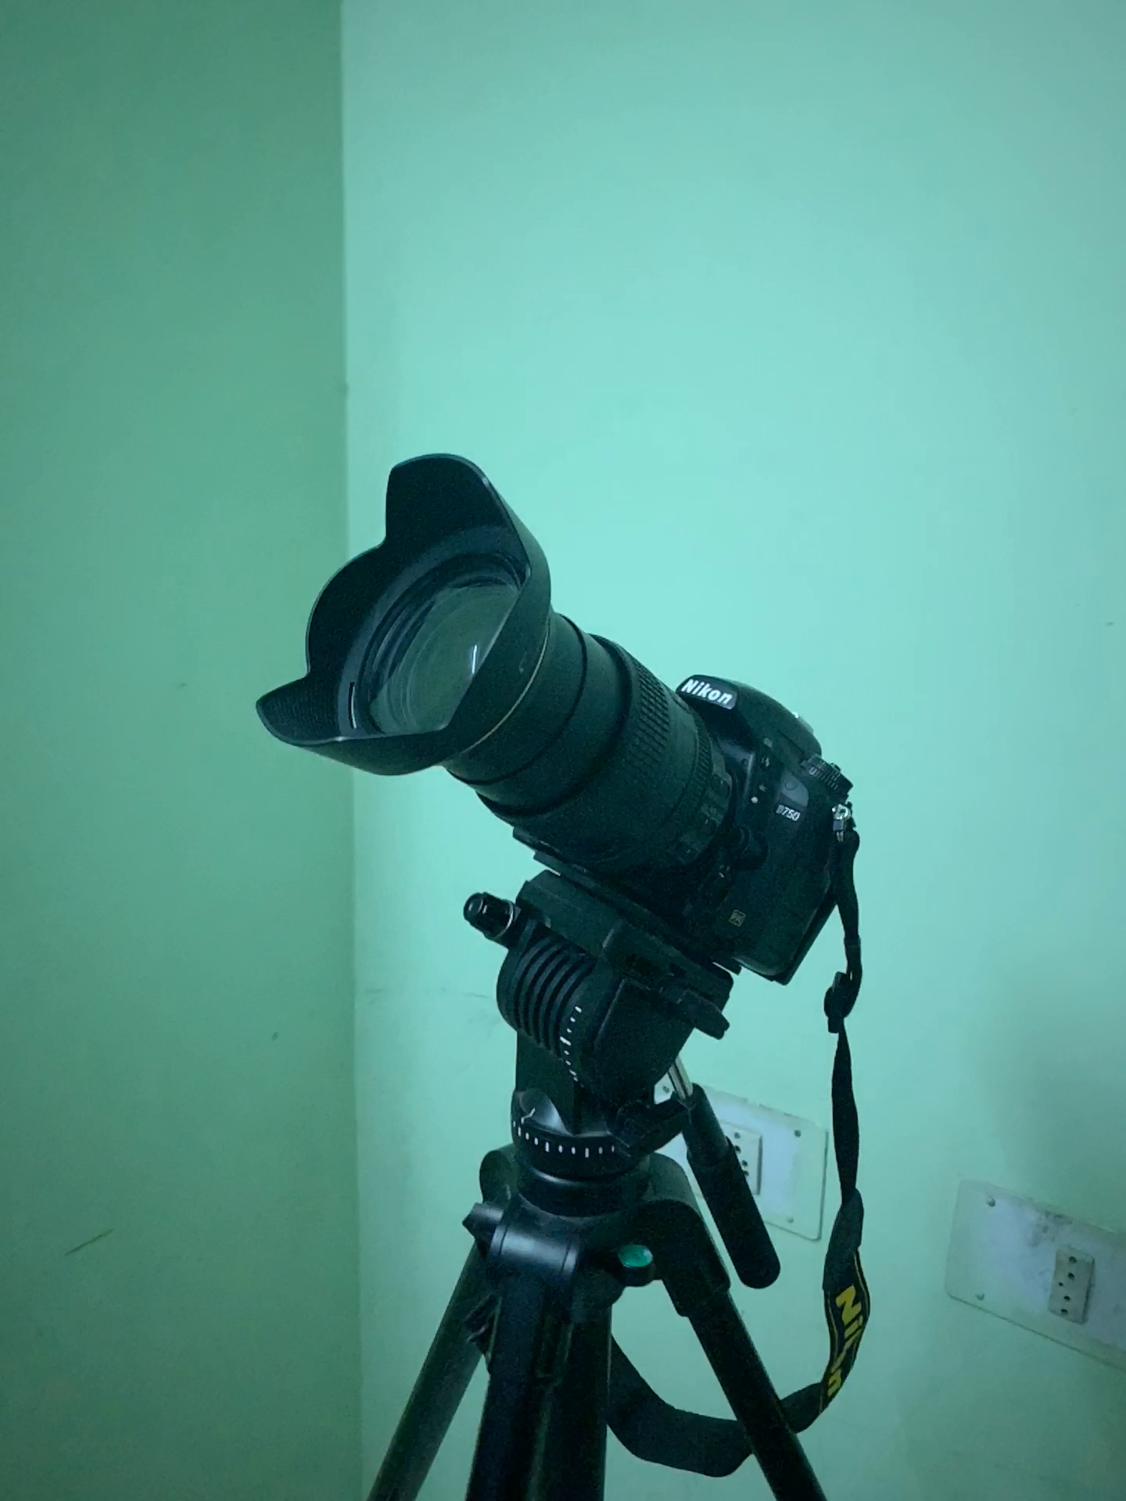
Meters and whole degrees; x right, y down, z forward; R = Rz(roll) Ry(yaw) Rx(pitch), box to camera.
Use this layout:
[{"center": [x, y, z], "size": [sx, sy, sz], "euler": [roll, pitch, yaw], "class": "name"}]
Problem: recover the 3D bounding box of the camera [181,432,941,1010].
[{"center": [0.009, -0.007, 0.470], "size": [0.247, 0.120, 0.152], "euler": [29, -6, -41], "class": "camera"}]
